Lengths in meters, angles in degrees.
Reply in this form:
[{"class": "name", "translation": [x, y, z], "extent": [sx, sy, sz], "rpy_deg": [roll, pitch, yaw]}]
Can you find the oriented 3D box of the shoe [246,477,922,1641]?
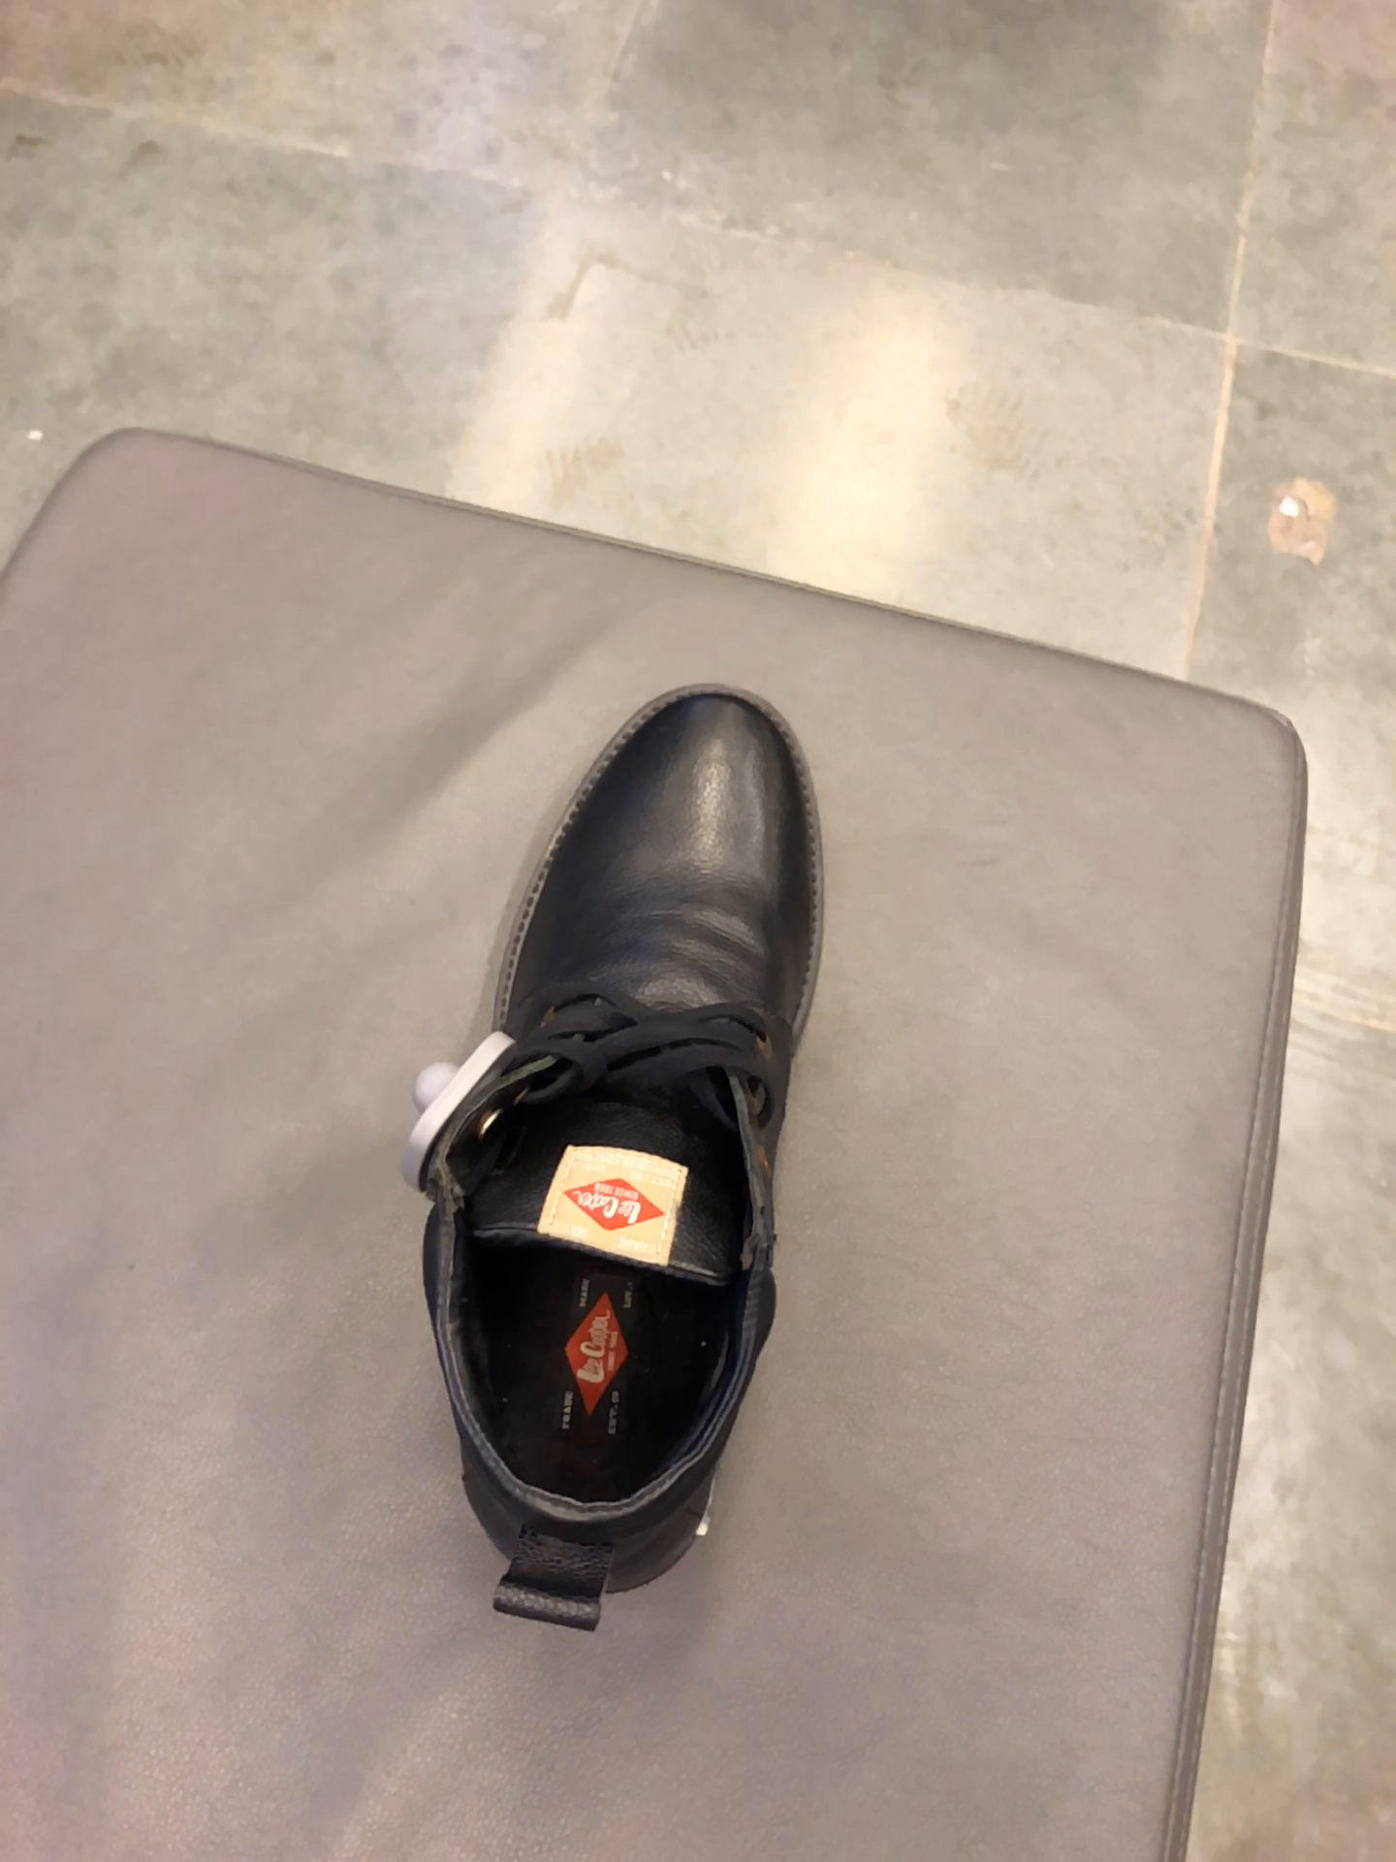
[{"class": "shoe", "translation": [-0.019, 0.039, 0.445], "extent": [0.111, 0.149, 0.284], "rpy_deg": [10, 66, 2]}]
